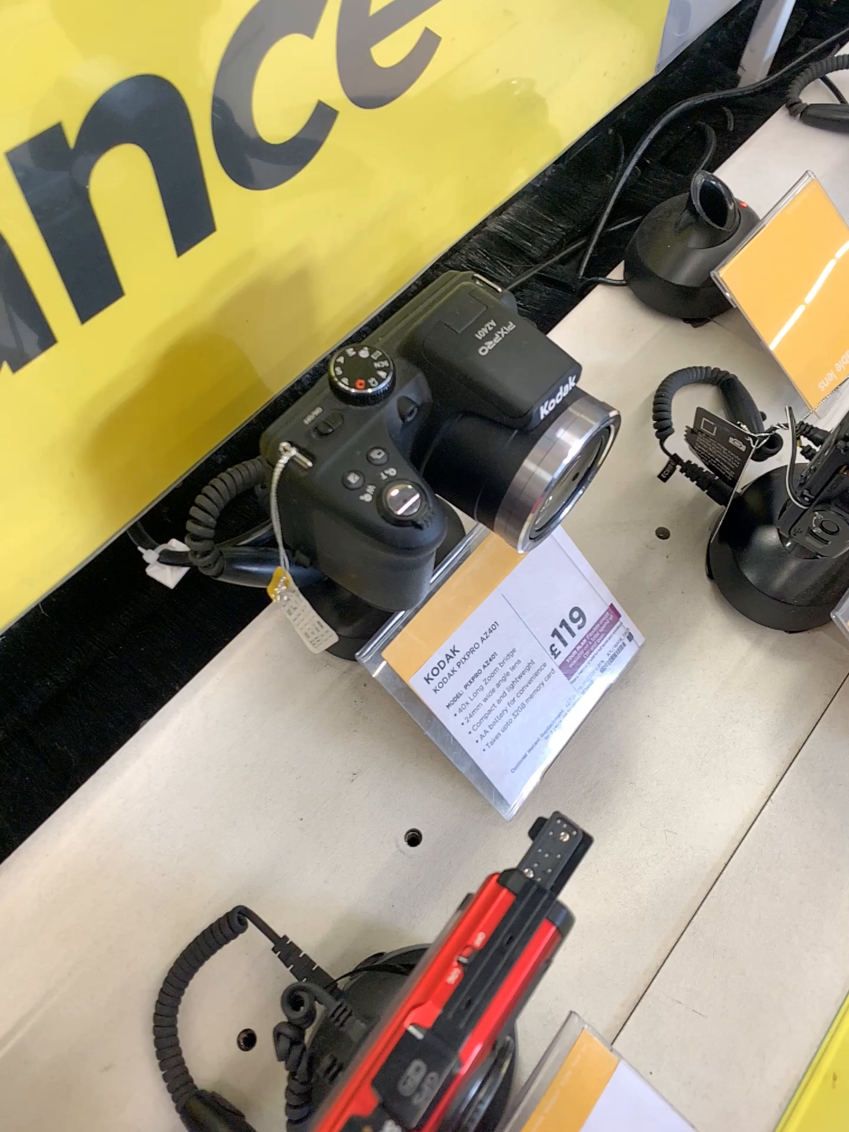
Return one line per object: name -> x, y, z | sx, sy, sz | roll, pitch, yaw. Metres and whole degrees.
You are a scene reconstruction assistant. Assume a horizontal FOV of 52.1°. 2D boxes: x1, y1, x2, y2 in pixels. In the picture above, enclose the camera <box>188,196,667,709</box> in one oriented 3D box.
camera -> 0.003, -0.039, 0.318 | 0.090, 0.099, 0.130 | 36, 67, 15
